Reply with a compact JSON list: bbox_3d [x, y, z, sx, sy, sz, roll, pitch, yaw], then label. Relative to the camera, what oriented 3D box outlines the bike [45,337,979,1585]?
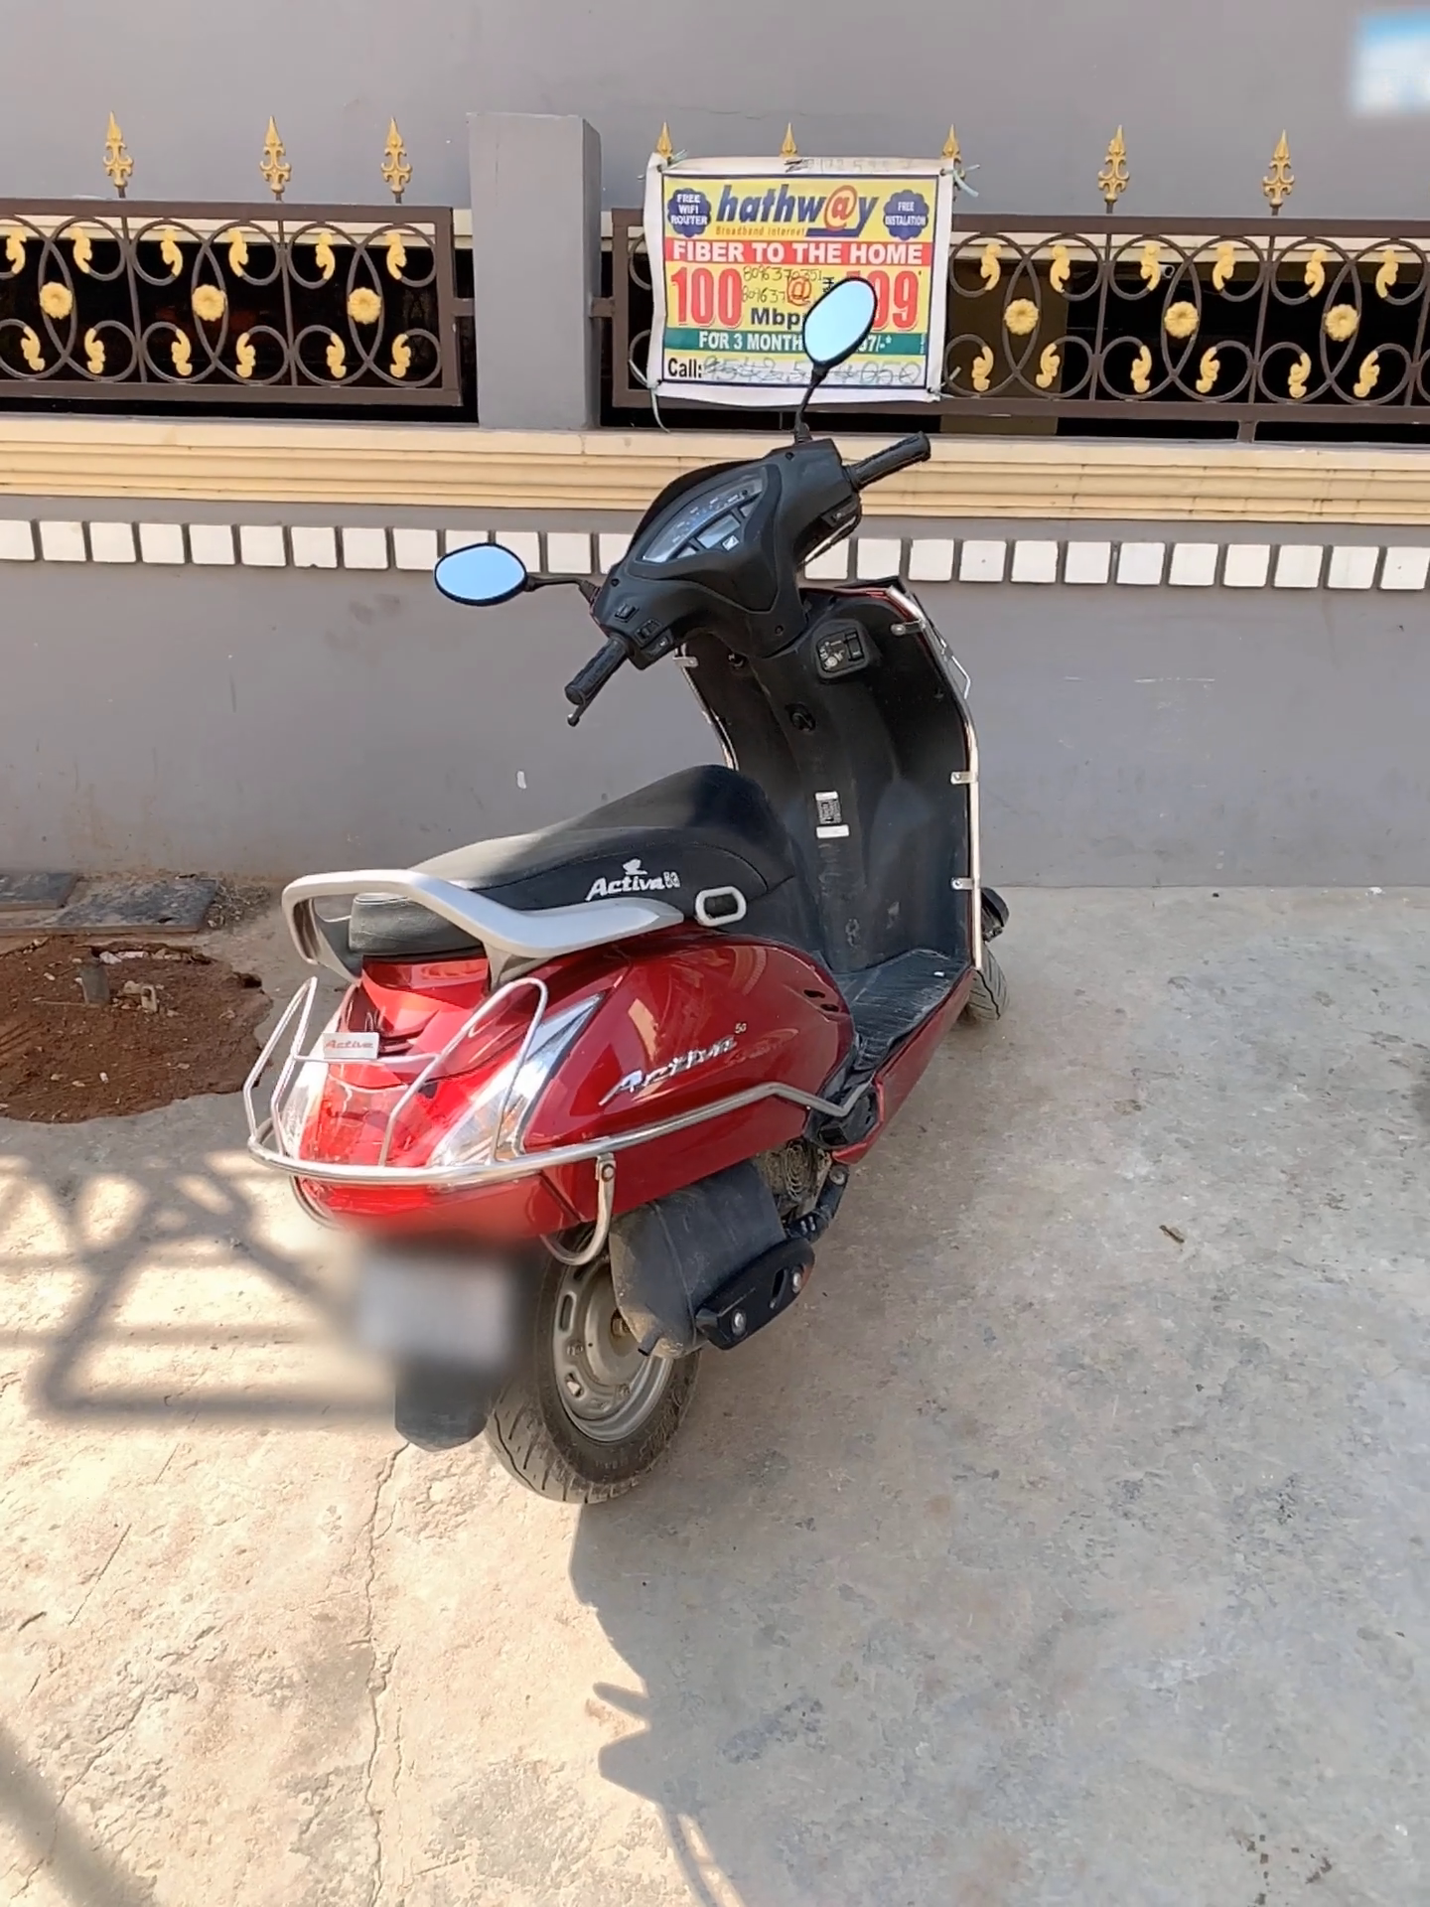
[{"bbox_3d":[-0.104,-0.266,2.285,0.623,1.164,1.761,9,27,19],"label":"bike"}]
